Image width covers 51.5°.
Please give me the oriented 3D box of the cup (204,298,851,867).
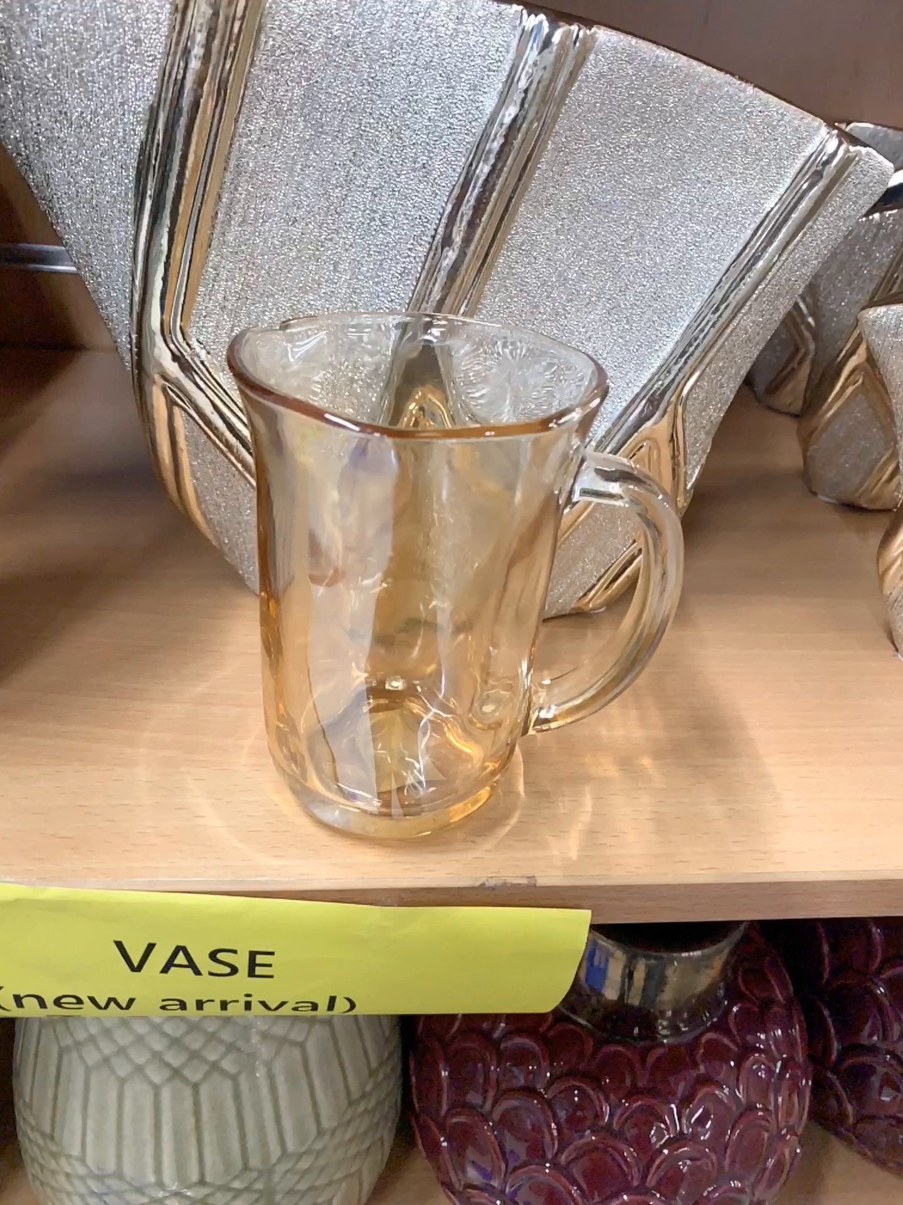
[{"bbox_3d":[0.008,-0.006,0.217,0.110,0.100,0.080,3,31,-5],"label":"cup"}]
